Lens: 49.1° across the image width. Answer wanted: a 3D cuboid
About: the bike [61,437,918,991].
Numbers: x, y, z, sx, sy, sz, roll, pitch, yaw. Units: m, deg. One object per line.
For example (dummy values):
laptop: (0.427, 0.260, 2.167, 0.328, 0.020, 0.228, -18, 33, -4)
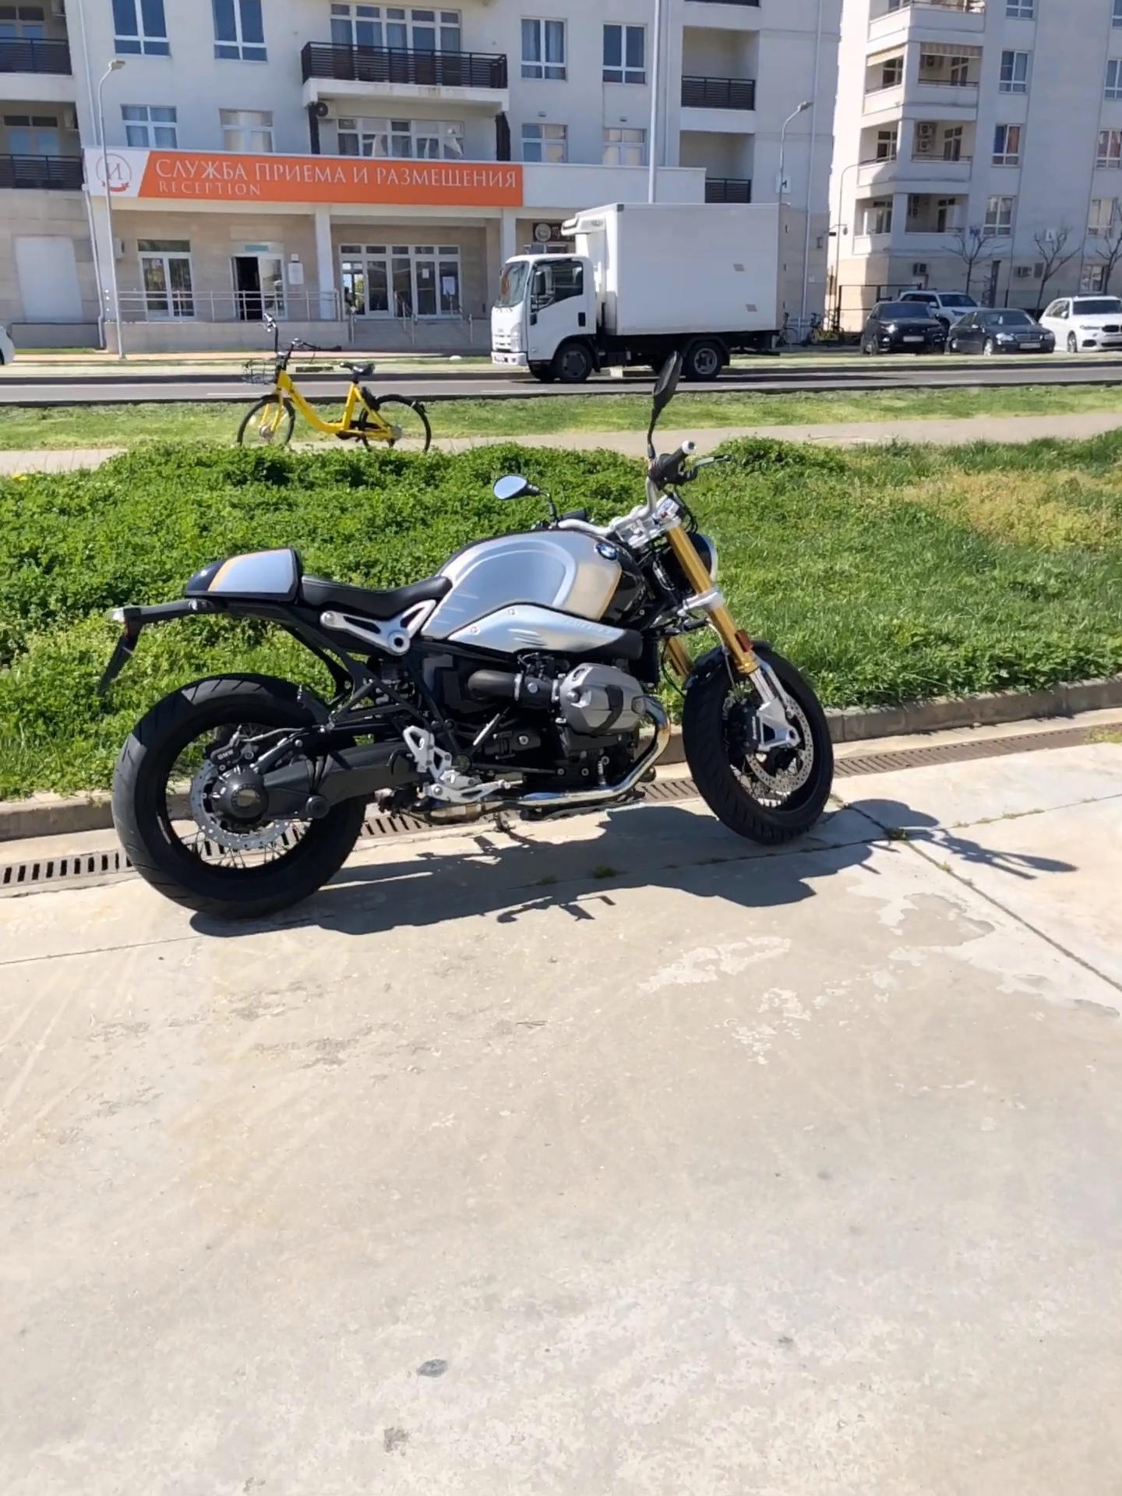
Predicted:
bike: (-0.136, -0.204, 3.354, 2.069, 1.123, 0.649, -9, 21, -23)
